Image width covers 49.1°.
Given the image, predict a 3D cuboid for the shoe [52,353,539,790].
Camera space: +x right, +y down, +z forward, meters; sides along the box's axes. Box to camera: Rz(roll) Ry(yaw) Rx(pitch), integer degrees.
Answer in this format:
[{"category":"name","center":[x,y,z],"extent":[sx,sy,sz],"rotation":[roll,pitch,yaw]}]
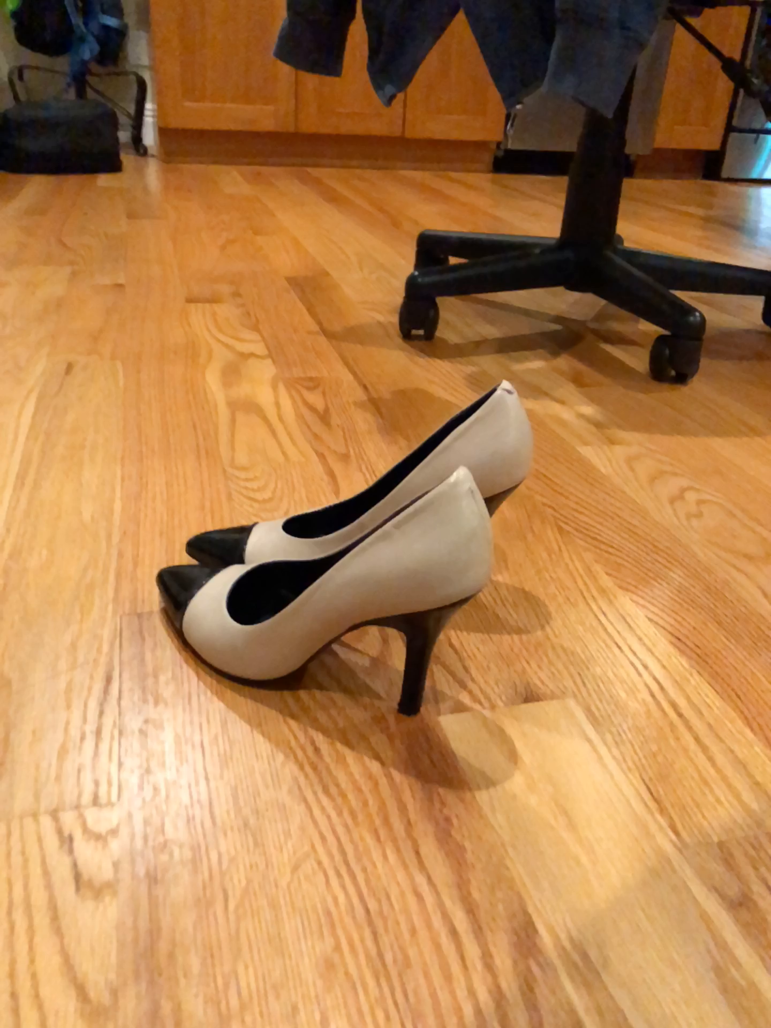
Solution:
[{"category":"shoe","center":[-0.055,0.015,0.443],"extent":[0.235,0.138,0.085],"rotation":[19,30,28]}]

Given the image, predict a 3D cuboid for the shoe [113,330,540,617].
[{"category":"shoe","center":[-0.034,-0.028,0.530],"extent":[0.235,0.138,0.085],"rotation":[5,26,2]}]
